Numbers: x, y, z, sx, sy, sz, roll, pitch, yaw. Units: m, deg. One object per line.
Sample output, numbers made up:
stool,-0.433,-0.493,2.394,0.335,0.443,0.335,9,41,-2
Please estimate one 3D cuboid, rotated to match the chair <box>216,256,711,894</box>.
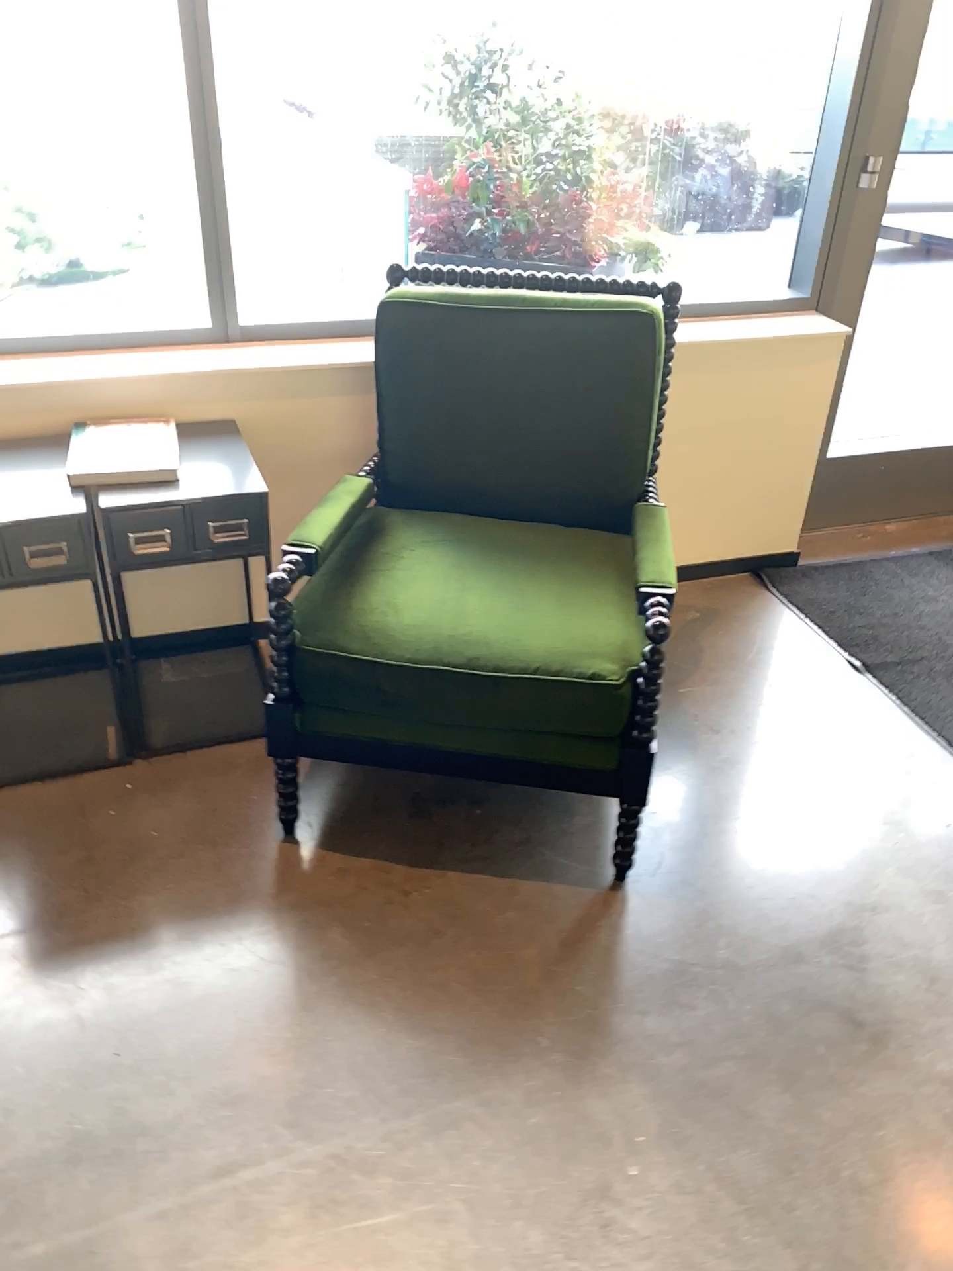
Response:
chair,0.029,-0.189,2.113,0.760,0.984,0.926,7,33,7
